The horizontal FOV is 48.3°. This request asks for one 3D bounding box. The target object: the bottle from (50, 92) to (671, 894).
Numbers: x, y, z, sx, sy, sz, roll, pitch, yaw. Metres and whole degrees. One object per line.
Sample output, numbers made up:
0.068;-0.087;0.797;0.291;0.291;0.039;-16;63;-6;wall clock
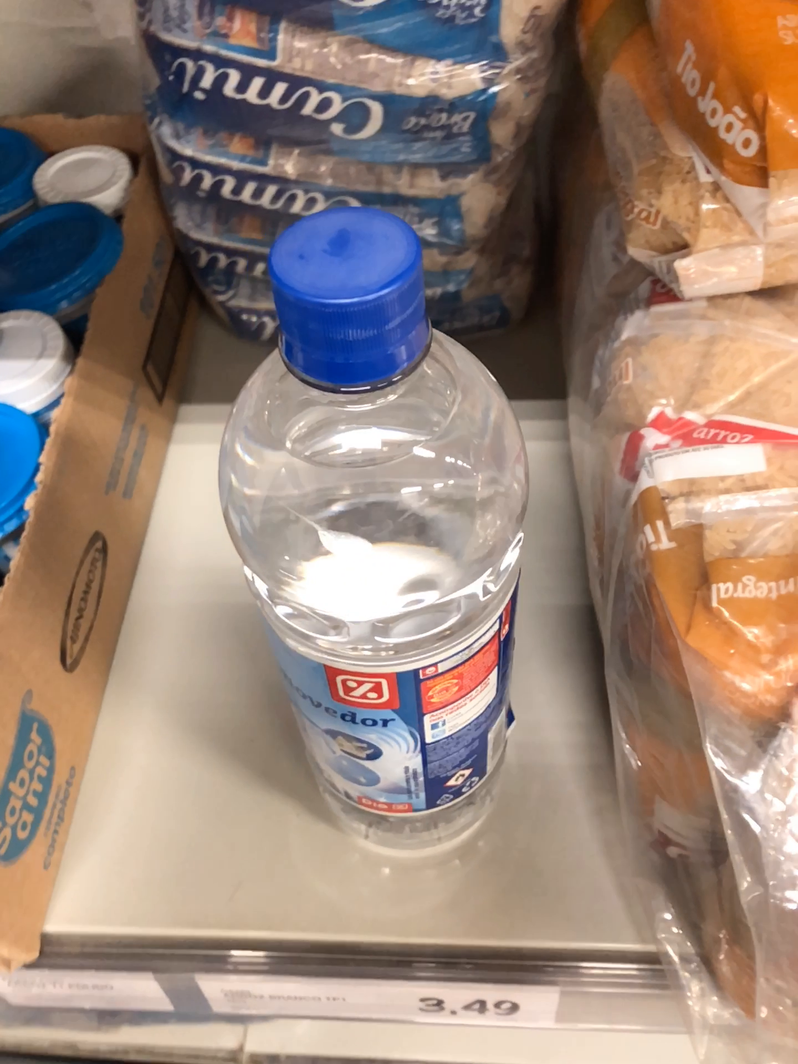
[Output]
-0.001;0.023;0.271;0.090;0.259;0.080;-24;58;-10;bottle
